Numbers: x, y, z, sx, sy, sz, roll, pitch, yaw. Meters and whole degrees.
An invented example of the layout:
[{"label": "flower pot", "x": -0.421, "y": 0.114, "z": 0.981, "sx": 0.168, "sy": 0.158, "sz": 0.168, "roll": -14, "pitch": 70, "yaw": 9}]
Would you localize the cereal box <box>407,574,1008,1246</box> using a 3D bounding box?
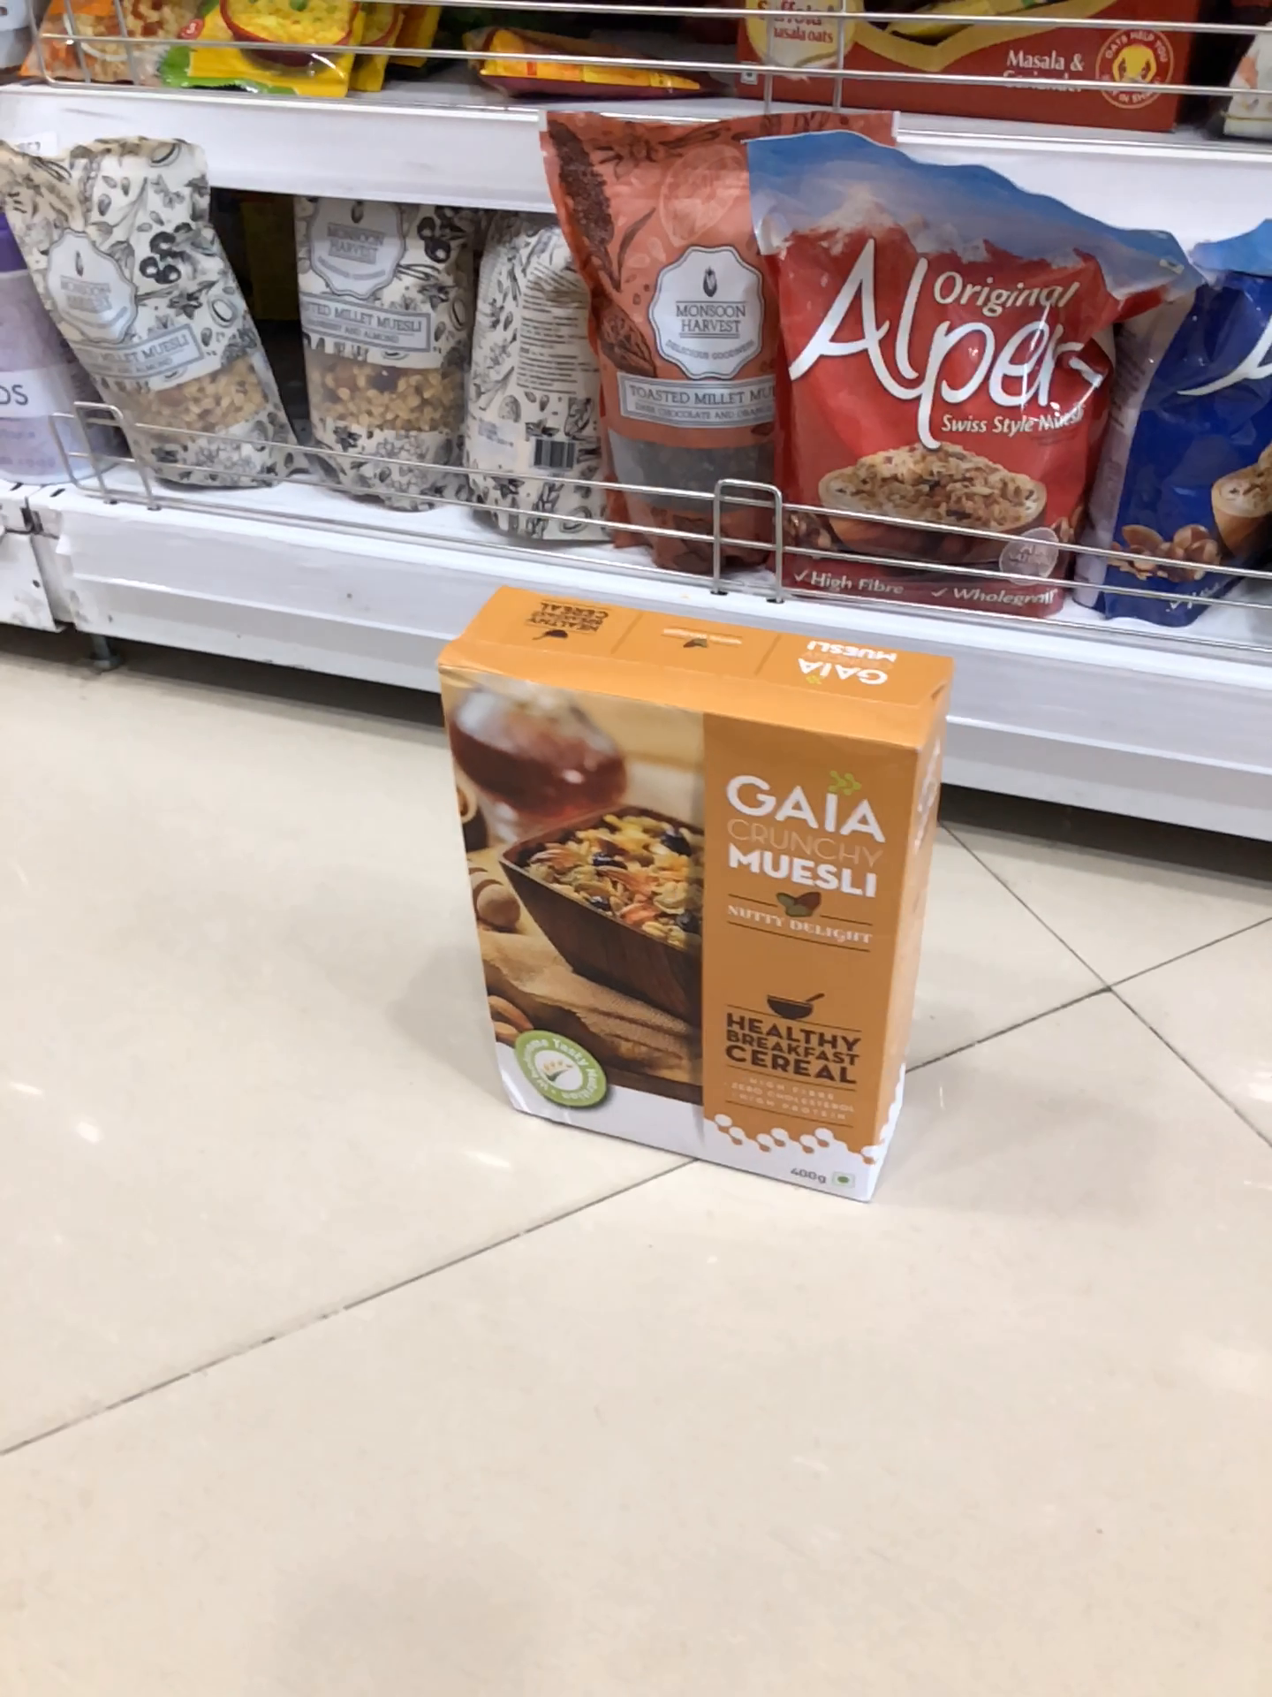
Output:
[{"label": "cereal box", "x": 0.028, "y": 0.031, "z": 0.545, "sx": 0.190, "sy": 0.248, "sz": 0.060, "roll": 12, "pitch": 43, "yaw": 17}]
